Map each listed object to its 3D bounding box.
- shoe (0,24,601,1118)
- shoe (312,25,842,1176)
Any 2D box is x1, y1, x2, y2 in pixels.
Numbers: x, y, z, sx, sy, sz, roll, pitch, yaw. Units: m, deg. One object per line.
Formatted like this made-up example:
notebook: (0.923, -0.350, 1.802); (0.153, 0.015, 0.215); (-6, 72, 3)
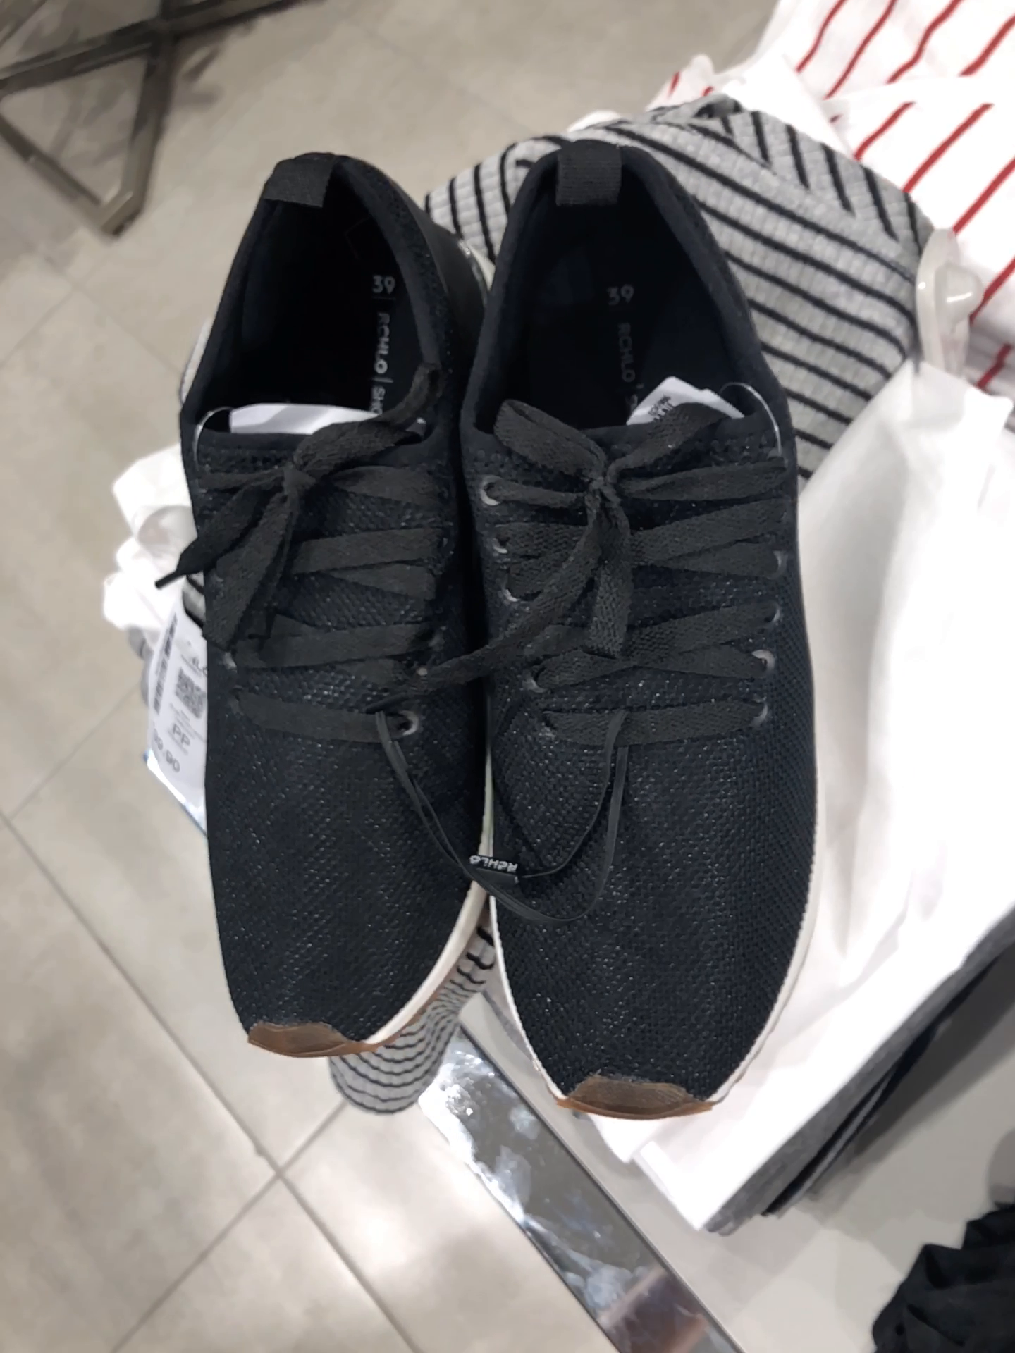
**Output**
shoe: (-0.047, -0.026, 0.327); (0.100, 0.120, 0.260); (4, 78, 17)
shoe: (0.031, -0.017, 0.311); (0.100, 0.120, 0.270); (-3, 69, 15)
